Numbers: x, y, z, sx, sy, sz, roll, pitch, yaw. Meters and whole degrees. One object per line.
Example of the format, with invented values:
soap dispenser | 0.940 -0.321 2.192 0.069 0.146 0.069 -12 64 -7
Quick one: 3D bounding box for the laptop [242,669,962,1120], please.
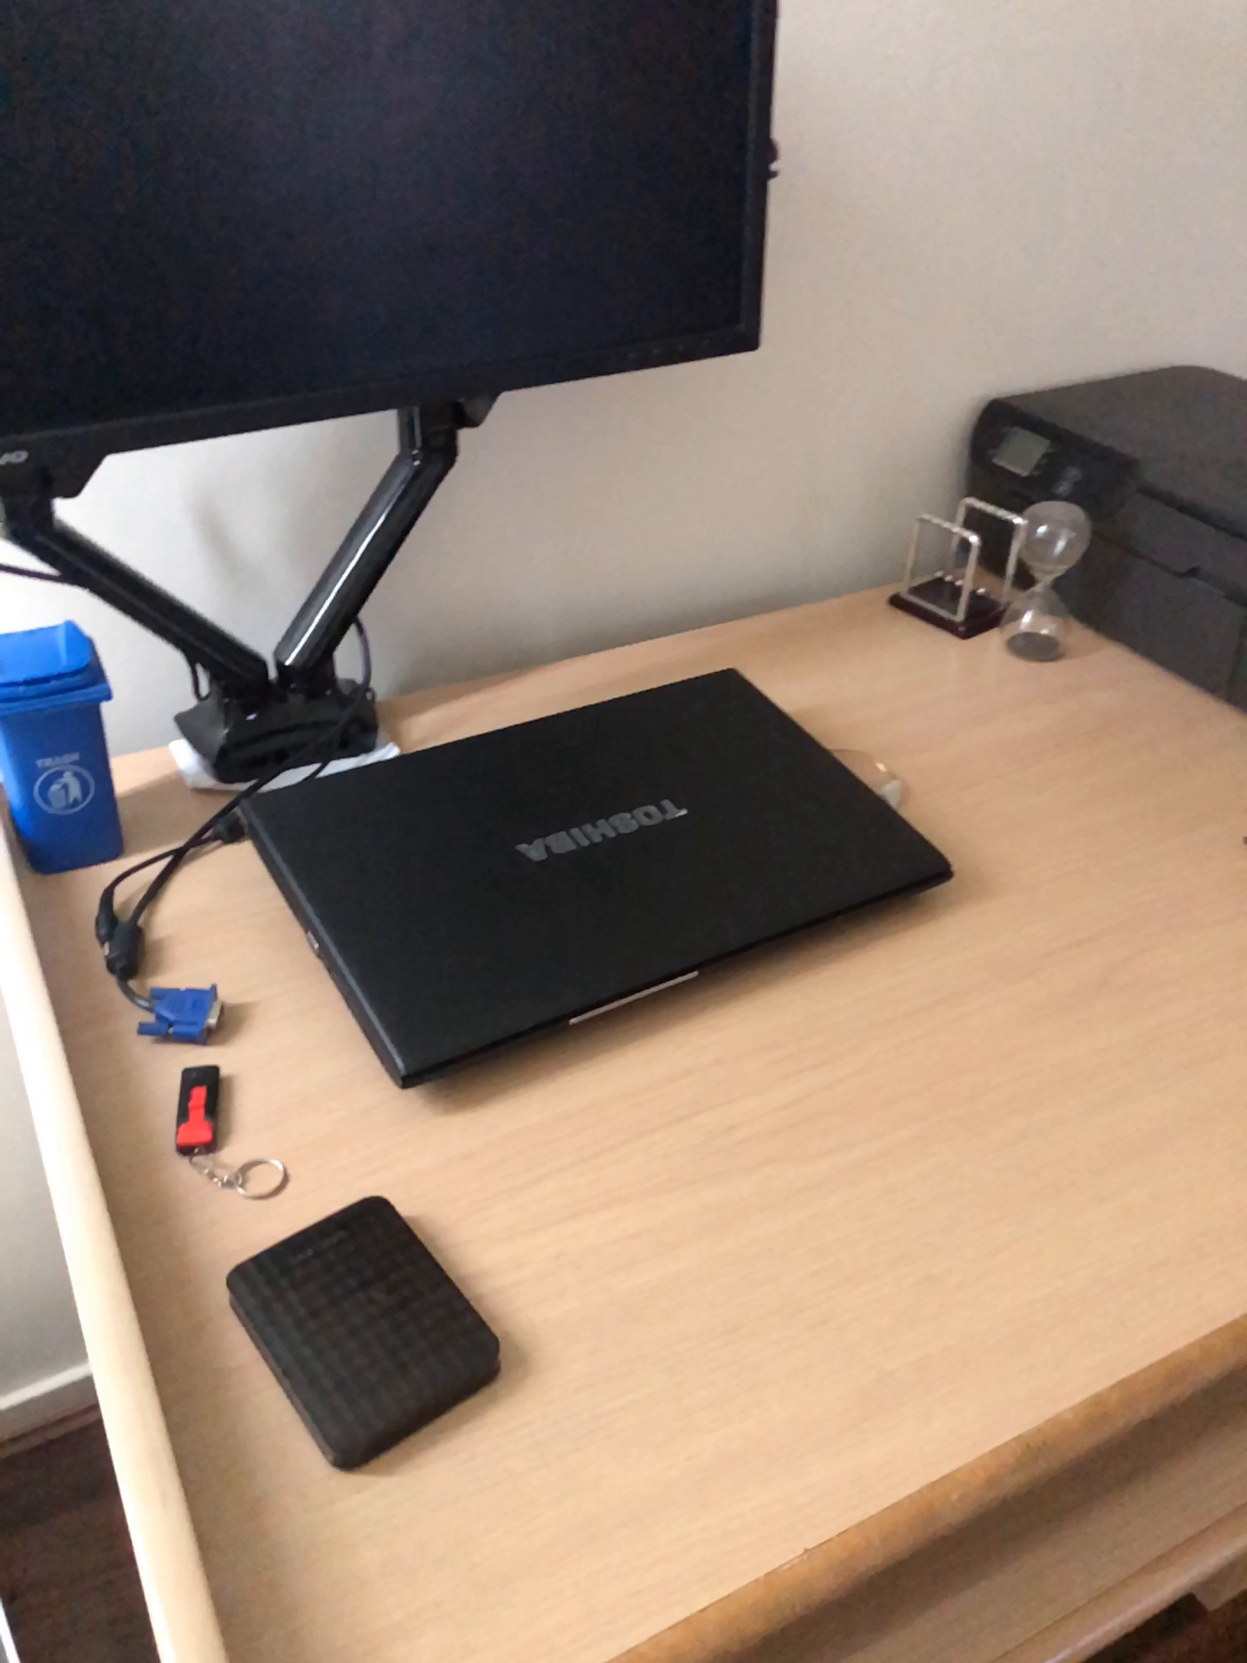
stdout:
laptop | -0.013 0.014 0.879 0.380 0.029 0.258 -18 45 -27
